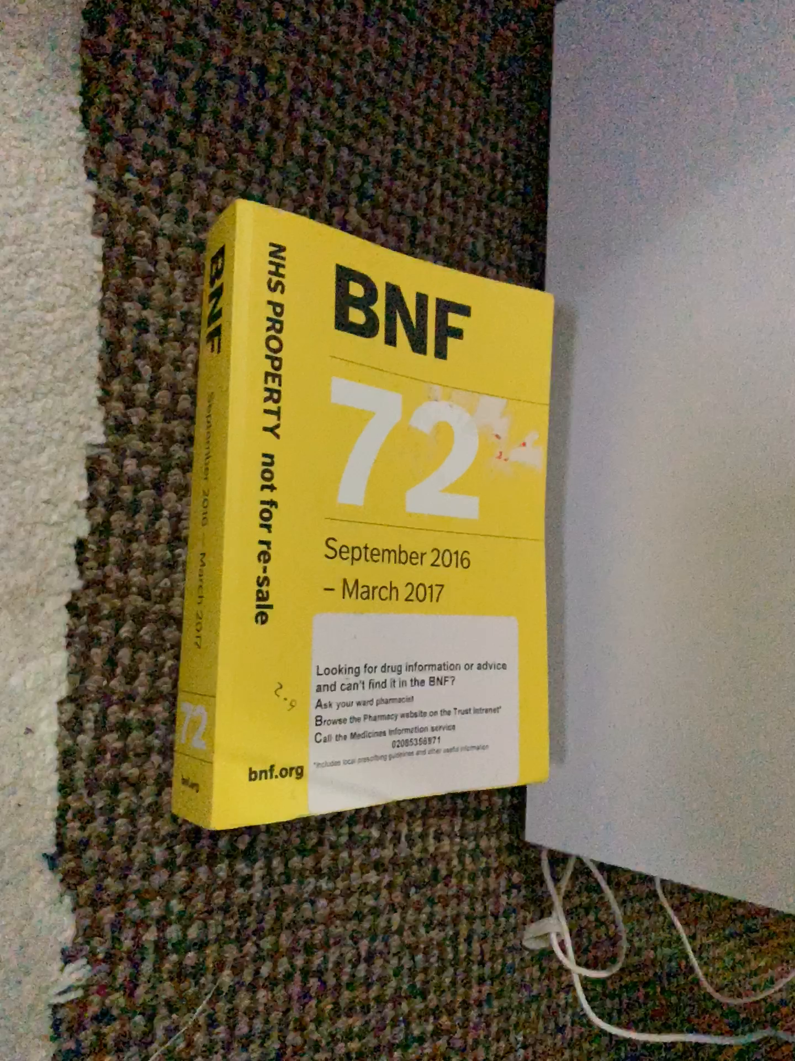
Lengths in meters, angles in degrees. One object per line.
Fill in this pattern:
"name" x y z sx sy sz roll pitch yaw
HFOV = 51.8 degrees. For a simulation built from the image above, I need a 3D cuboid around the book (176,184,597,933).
"book" 0.006 0.011 0.312 0.161 0.050 0.220 6 82 -41
